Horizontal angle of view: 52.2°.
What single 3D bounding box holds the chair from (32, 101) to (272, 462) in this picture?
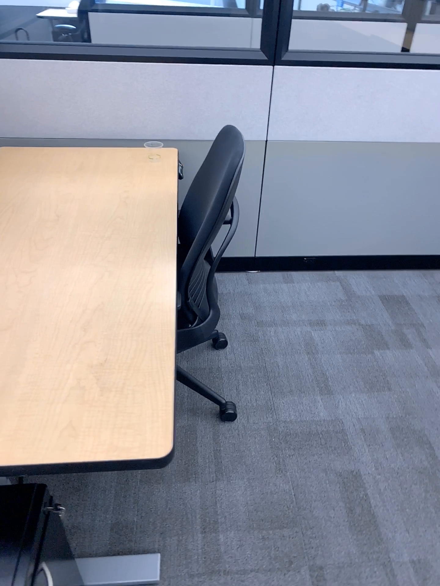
[{"bbox_3d":[-0.199,-0.039,1.524,0.510,0.994,0.674,-3,37,-7],"label":"chair"}]
